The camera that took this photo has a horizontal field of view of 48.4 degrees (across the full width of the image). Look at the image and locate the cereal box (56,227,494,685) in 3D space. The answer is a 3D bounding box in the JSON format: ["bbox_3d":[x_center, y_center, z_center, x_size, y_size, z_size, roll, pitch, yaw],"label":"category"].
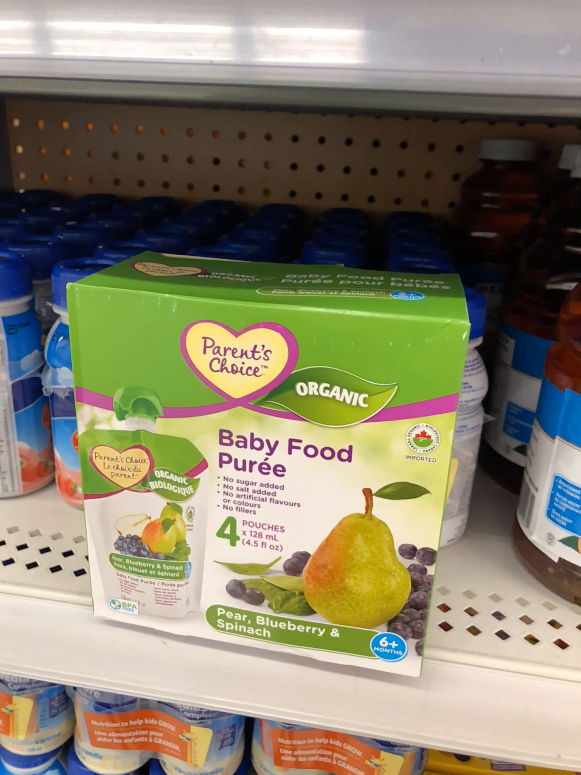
[{"bbox_3d":[-0.006,0.023,0.288,0.150,0.159,0.091,7,22,8],"label":"cereal box"}]
